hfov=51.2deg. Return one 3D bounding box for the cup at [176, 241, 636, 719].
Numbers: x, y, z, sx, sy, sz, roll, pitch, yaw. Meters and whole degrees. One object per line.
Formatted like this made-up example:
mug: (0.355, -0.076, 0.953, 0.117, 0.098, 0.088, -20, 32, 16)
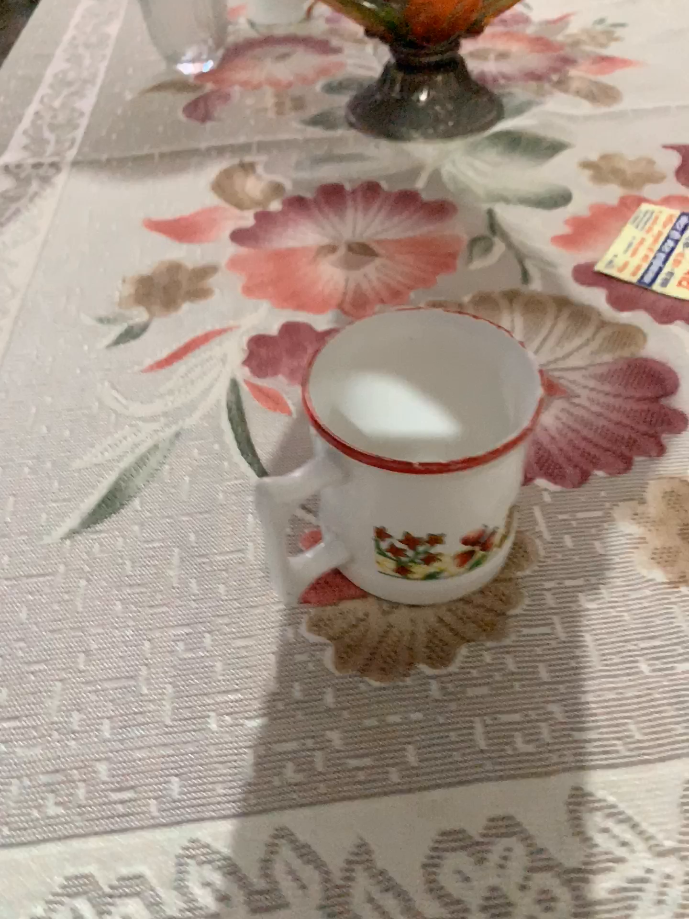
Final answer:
cup: (0.019, 0.002, 0.216, 0.100, 0.080, 0.070, -36, 54, -27)
